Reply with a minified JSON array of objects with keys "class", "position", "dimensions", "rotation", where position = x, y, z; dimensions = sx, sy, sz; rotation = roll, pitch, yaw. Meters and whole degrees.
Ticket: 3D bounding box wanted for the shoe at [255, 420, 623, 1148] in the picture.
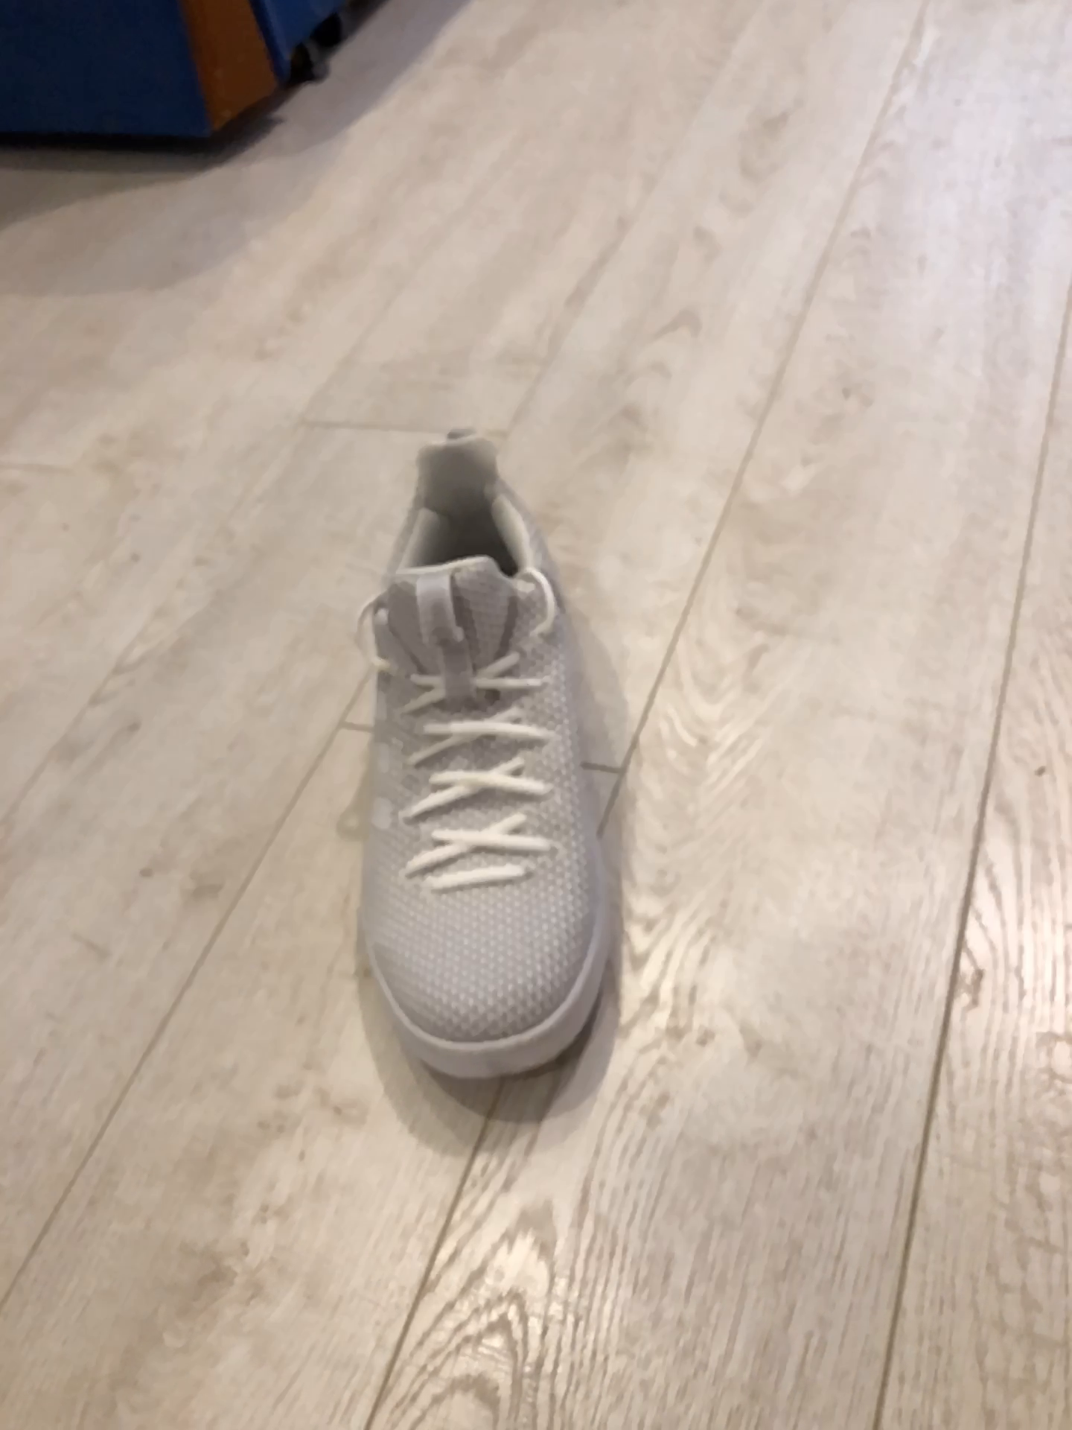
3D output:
[{"class":"shoe","position":[-0.033,0.014,0.508],"dimensions":[0.100,0.109,0.292],"rotation":[-10,47,8]}]
